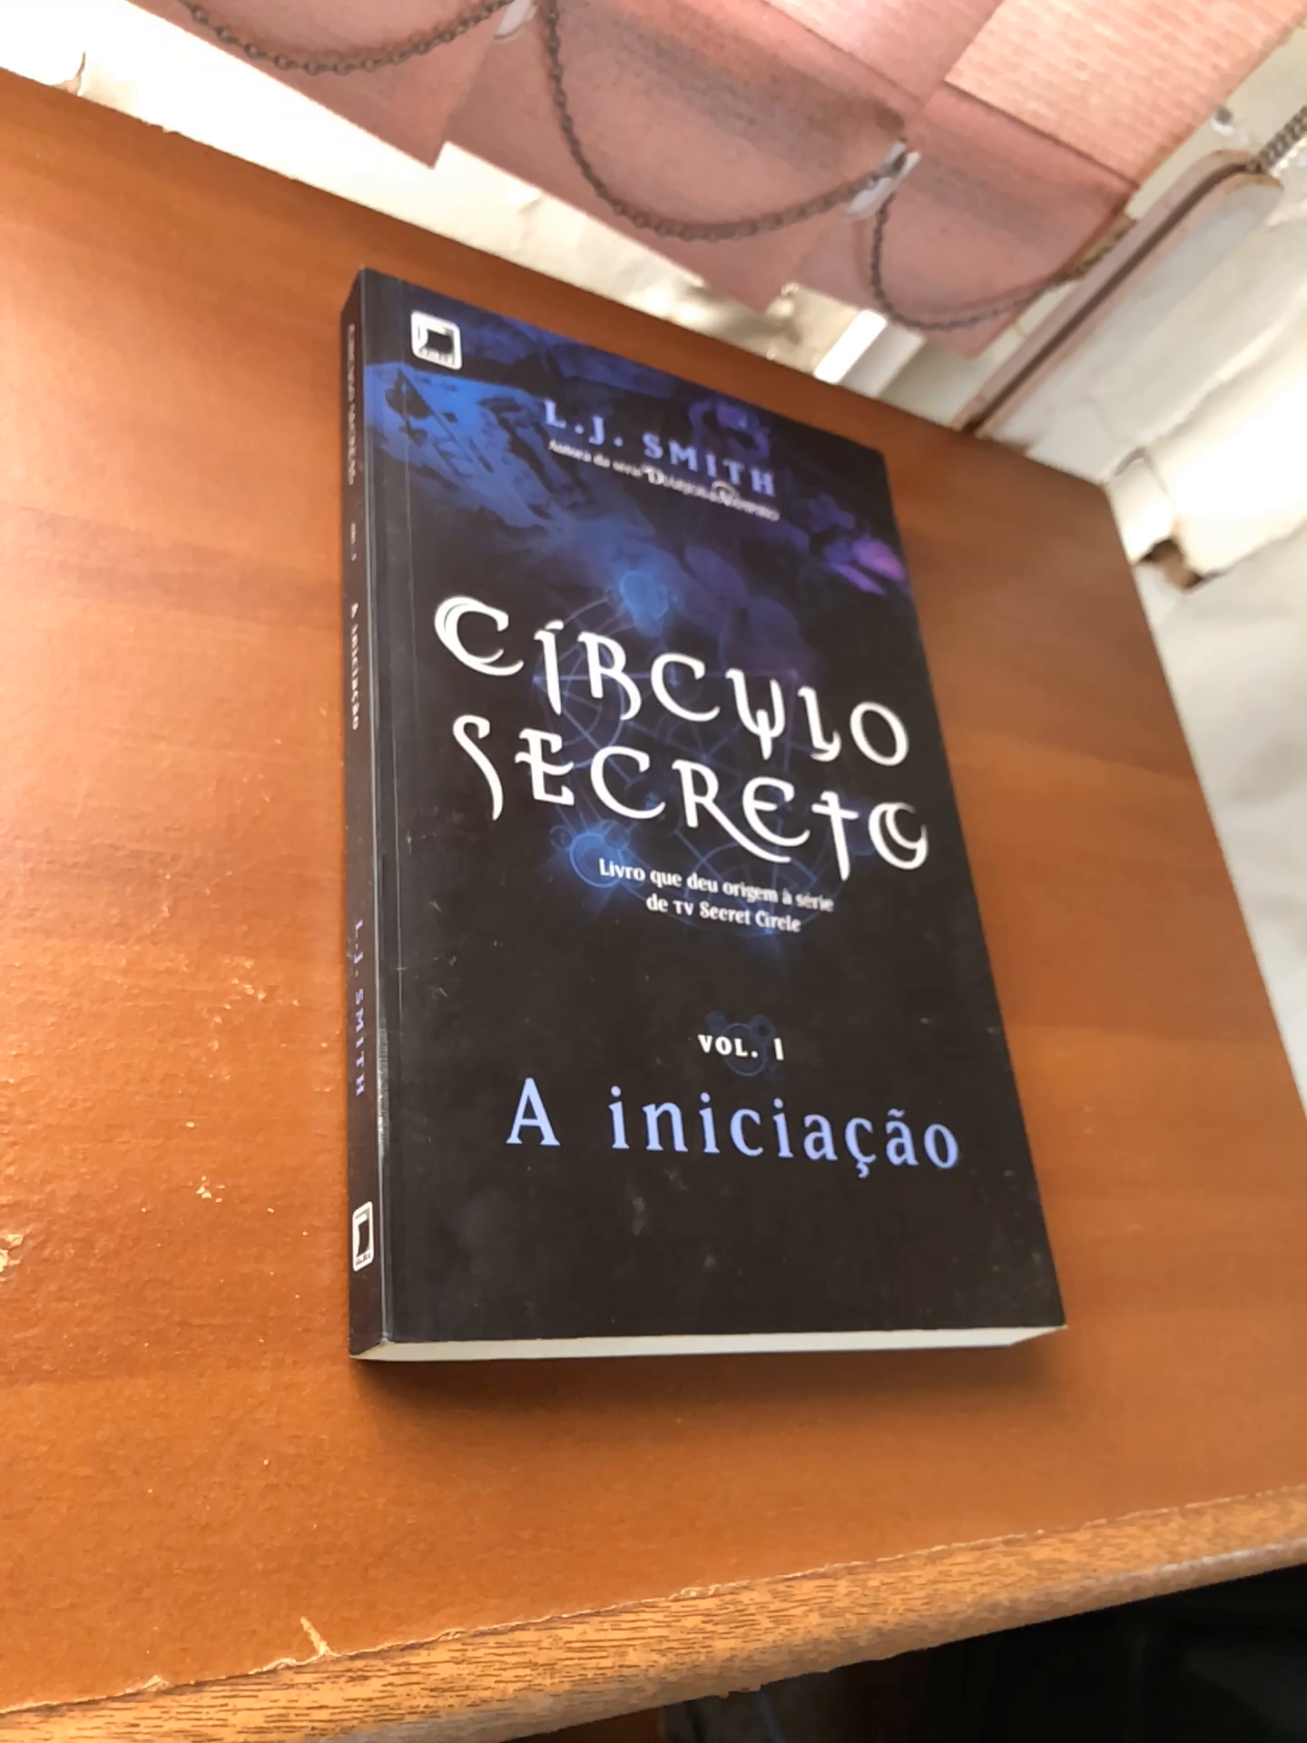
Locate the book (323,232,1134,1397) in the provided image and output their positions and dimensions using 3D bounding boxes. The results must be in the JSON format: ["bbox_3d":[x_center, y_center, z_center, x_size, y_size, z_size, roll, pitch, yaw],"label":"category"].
[{"bbox_3d":[0.009,-0.015,0.285,0.140,0.024,0.214,10,59,-31],"label":"book"}]
